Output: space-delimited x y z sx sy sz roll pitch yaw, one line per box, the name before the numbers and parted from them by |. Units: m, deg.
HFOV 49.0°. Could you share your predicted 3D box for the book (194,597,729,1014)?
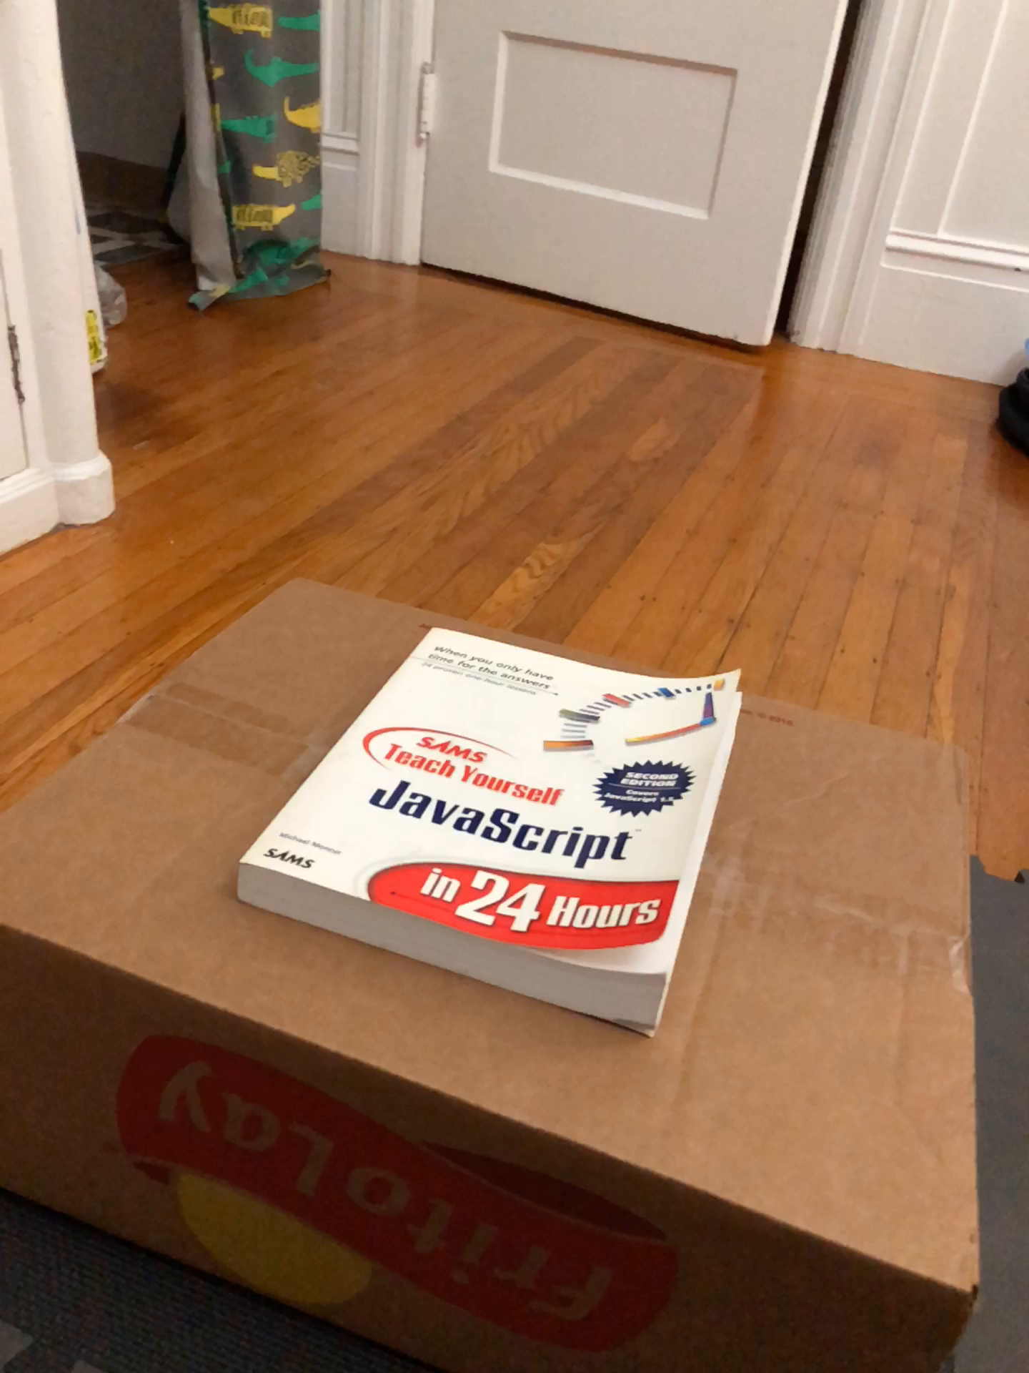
book | -0.008 0.039 0.565 0.200 0.030 0.241 14 31 10
